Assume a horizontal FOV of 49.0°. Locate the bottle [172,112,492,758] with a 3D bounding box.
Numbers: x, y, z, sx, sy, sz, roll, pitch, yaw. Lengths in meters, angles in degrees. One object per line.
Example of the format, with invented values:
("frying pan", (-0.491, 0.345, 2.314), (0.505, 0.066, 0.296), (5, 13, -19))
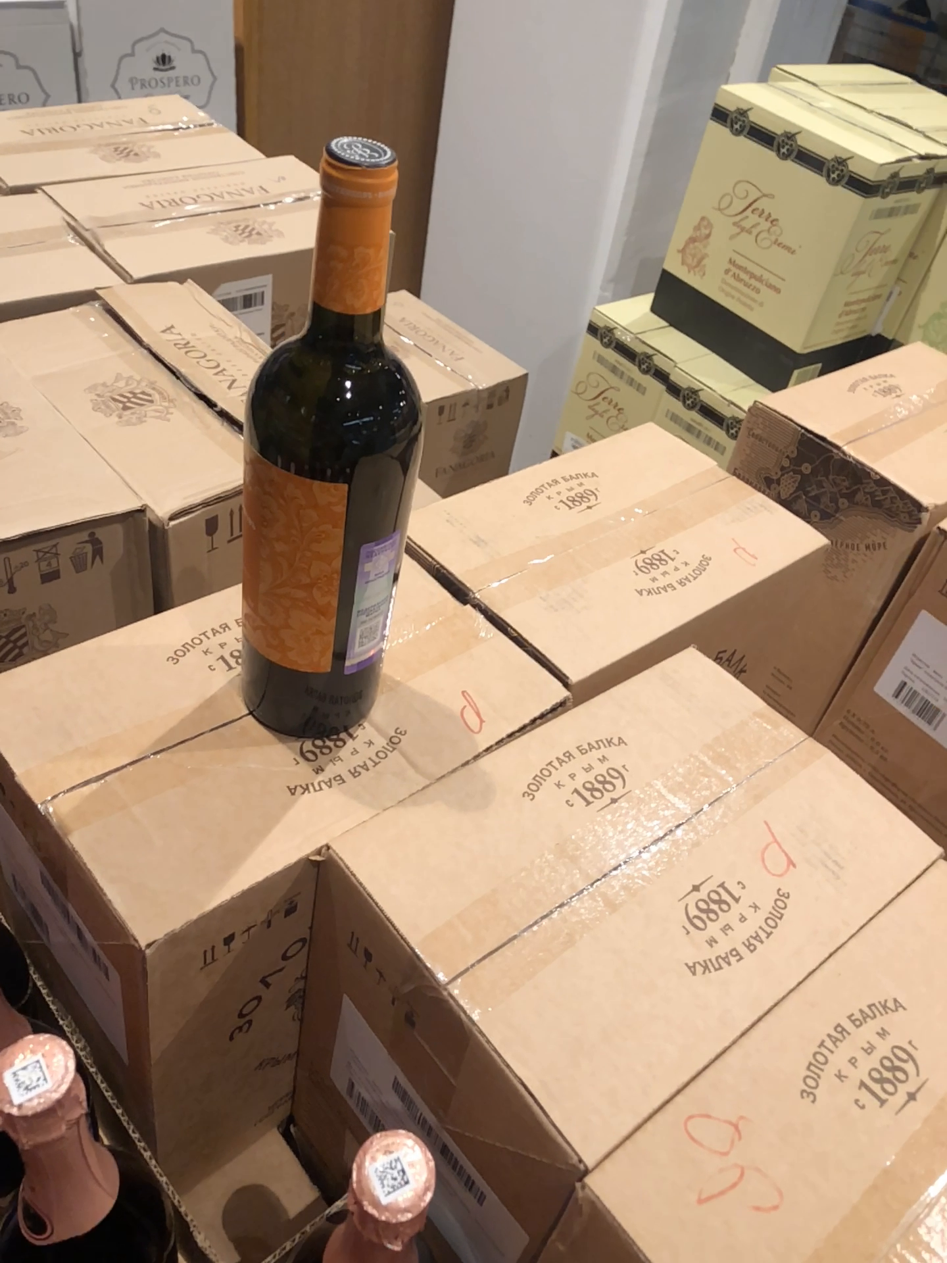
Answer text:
("bottle", (-0.075, -0.079, 0.489), (0.090, 0.278, 0.090), (6, 41, -5))
